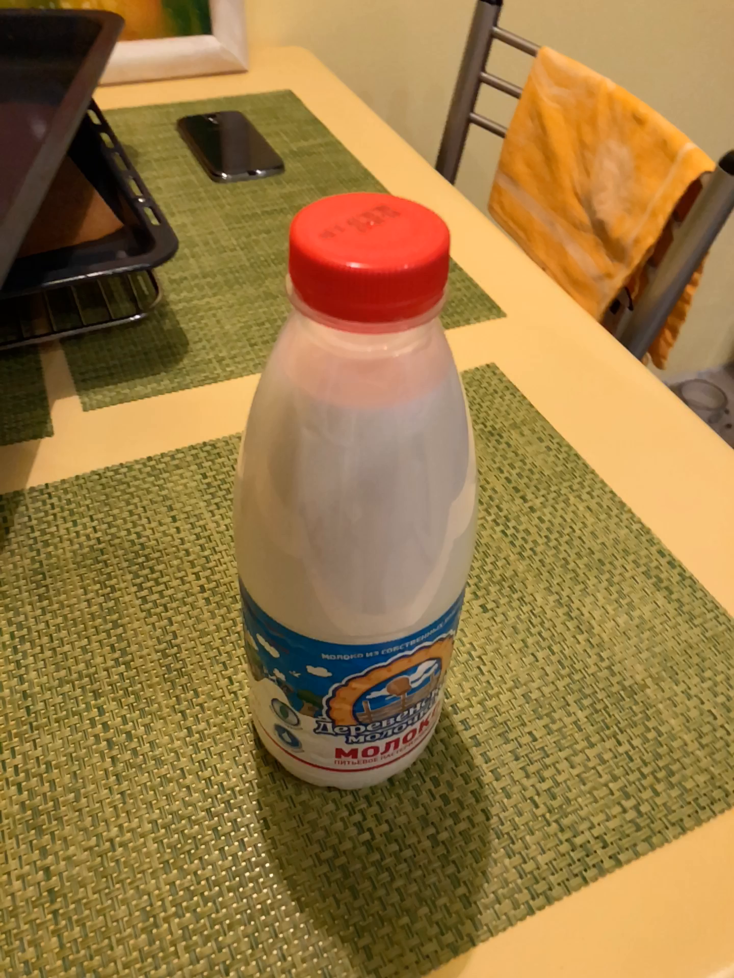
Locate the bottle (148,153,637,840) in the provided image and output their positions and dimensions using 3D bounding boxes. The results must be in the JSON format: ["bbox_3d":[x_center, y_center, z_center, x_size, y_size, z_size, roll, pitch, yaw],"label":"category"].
[{"bbox_3d":[-0.003,0.017,0.280,0.090,0.219,0.090,2,45,-2],"label":"bottle"}]
